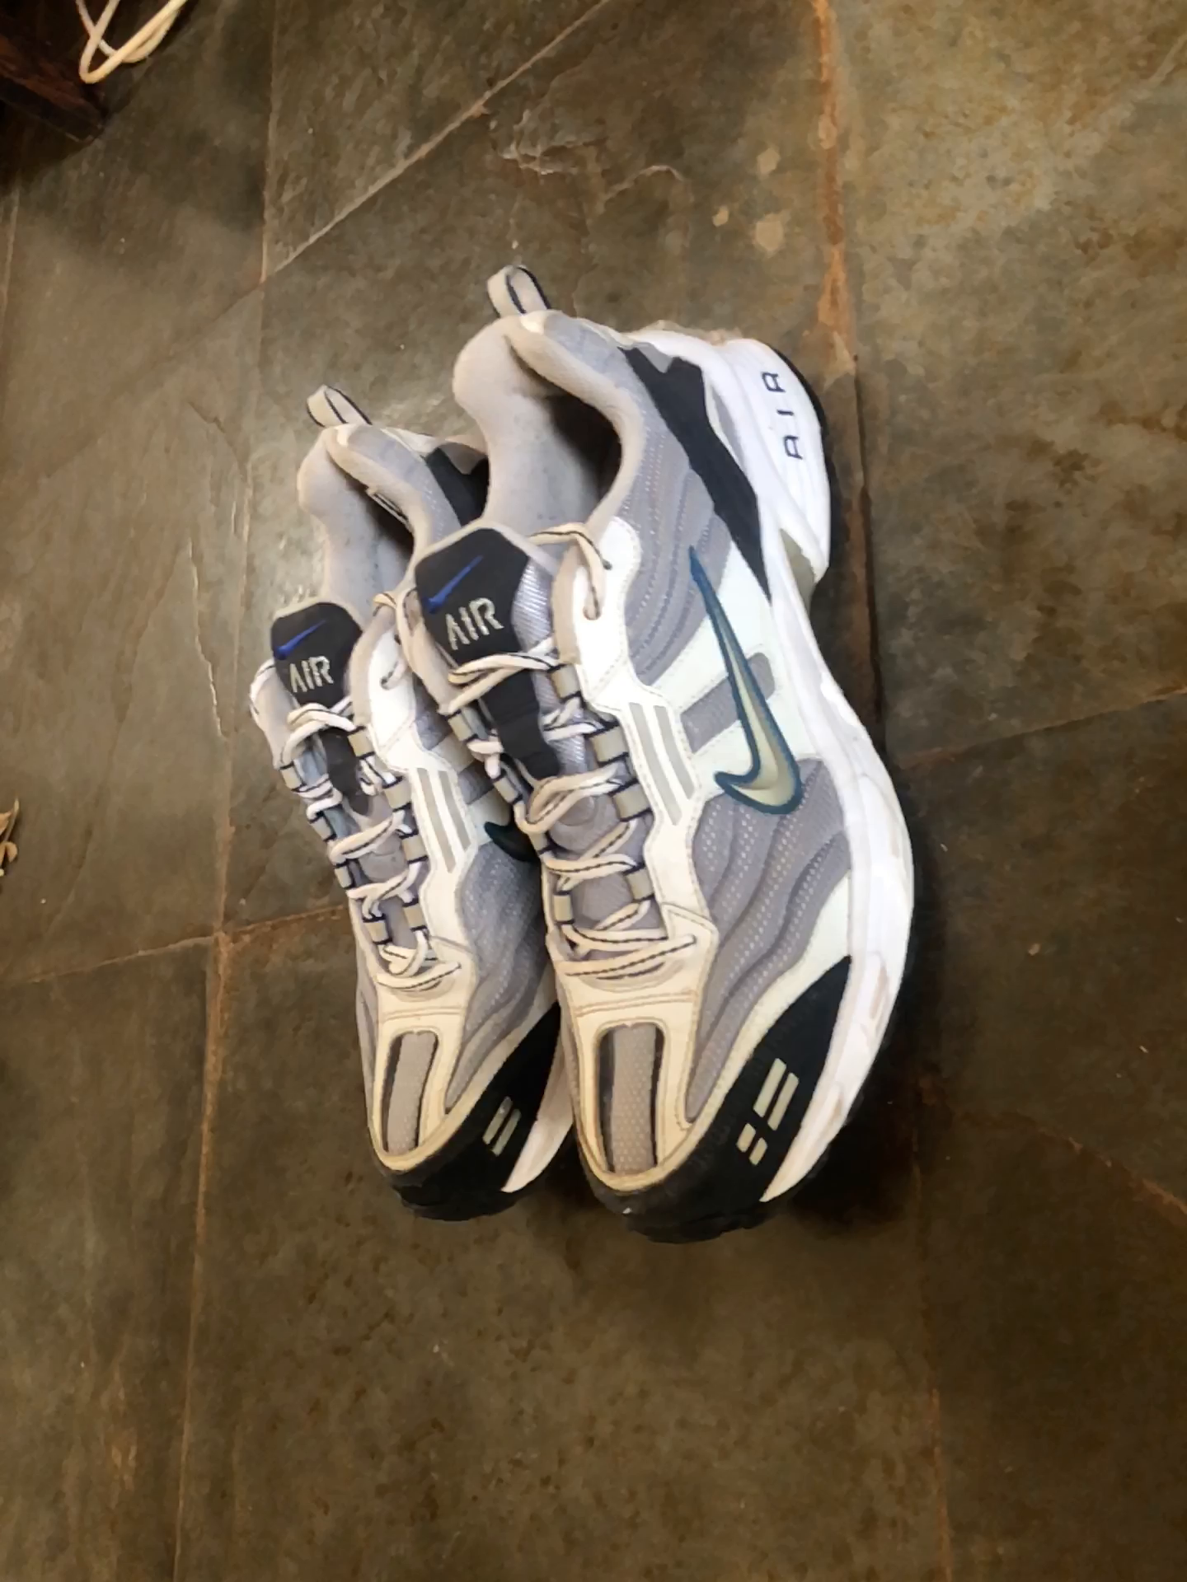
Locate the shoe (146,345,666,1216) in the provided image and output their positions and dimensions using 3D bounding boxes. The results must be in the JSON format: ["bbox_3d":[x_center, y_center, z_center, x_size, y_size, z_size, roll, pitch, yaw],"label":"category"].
[{"bbox_3d":[-0.061,0.008,0.451,0.110,0.119,0.260,-17,67,41],"label":"shoe"}]

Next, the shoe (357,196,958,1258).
[{"bbox_3d":[0.014,-0.008,0.376,0.110,0.110,0.260,-17,67,41],"label":"shoe"}]
